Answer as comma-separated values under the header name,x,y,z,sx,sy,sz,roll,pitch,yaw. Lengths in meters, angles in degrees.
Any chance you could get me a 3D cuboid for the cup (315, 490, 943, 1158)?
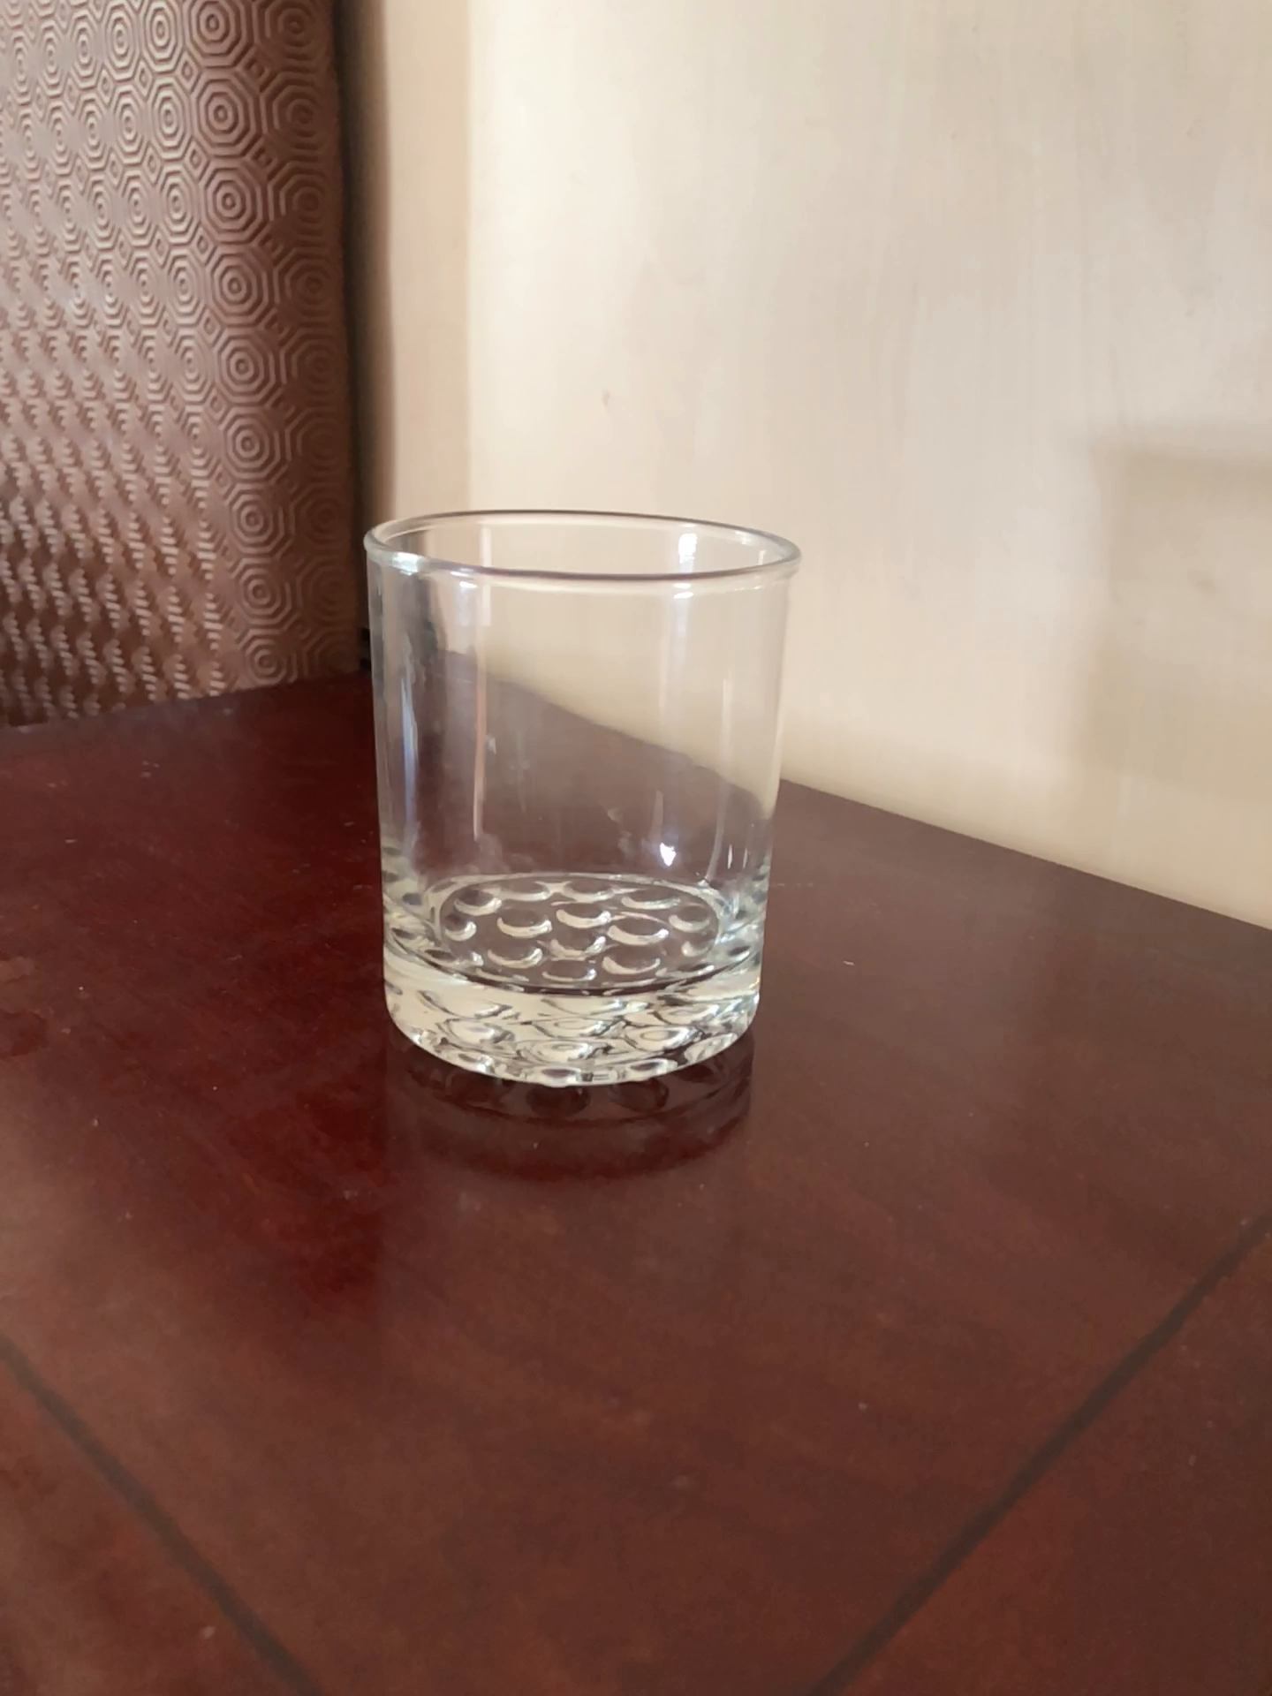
name,x,y,z,sx,sy,sz,roll,pitch,yaw
cup,-0.005,-0.014,0.270,0.082,0.097,0.081,2,19,-1
